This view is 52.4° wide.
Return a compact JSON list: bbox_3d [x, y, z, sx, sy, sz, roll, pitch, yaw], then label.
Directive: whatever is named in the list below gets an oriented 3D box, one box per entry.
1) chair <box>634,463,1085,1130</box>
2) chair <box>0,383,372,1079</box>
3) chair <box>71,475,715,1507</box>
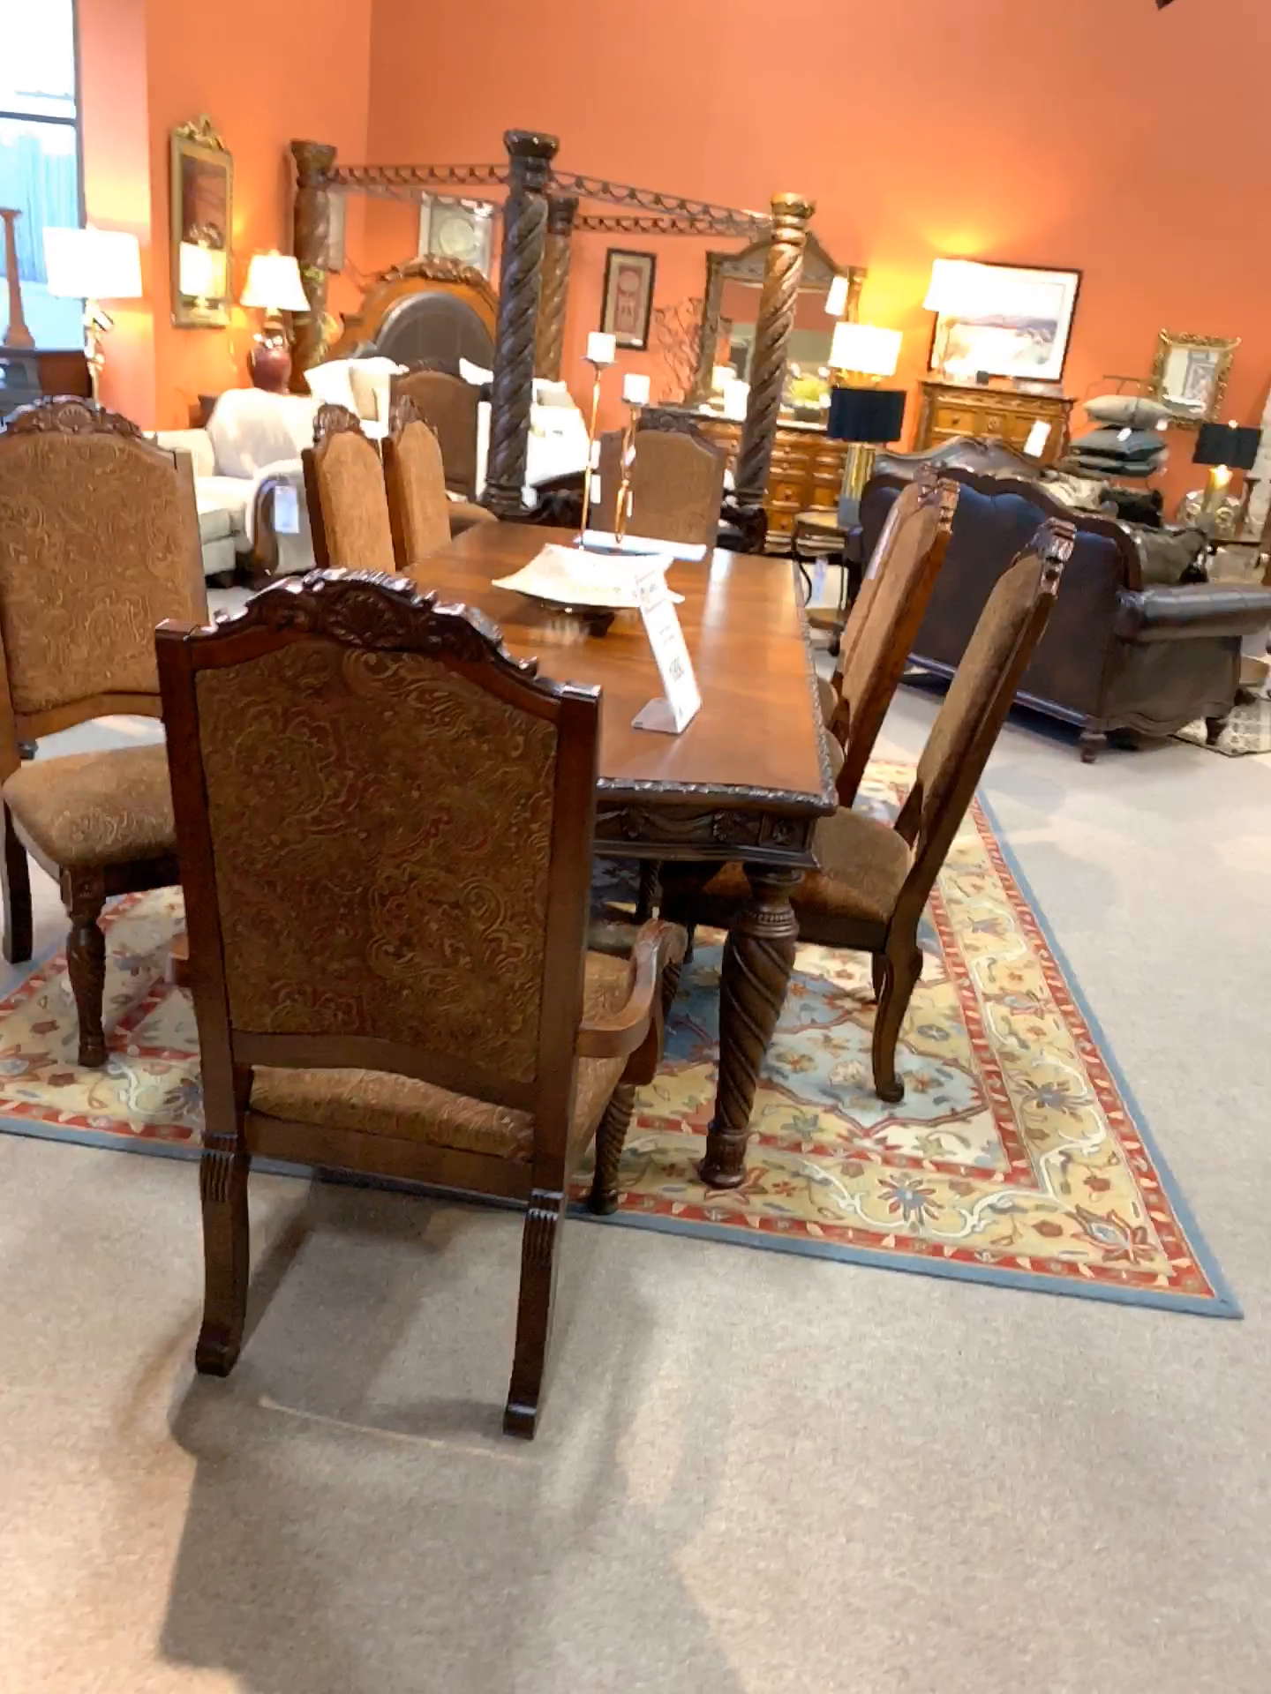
[{"bbox_3d":[0.406,-0.127,2.593,0.619,1.134,0.566,9,21,6],"label":"chair"},{"bbox_3d":[-1.001,-0.275,2.656,0.604,1.184,0.671,-11,27,-40],"label":"chair"},{"bbox_3d":[-0.282,0.139,1.751,0.583,1.124,0.672,9,21,5],"label":"chair"}]
